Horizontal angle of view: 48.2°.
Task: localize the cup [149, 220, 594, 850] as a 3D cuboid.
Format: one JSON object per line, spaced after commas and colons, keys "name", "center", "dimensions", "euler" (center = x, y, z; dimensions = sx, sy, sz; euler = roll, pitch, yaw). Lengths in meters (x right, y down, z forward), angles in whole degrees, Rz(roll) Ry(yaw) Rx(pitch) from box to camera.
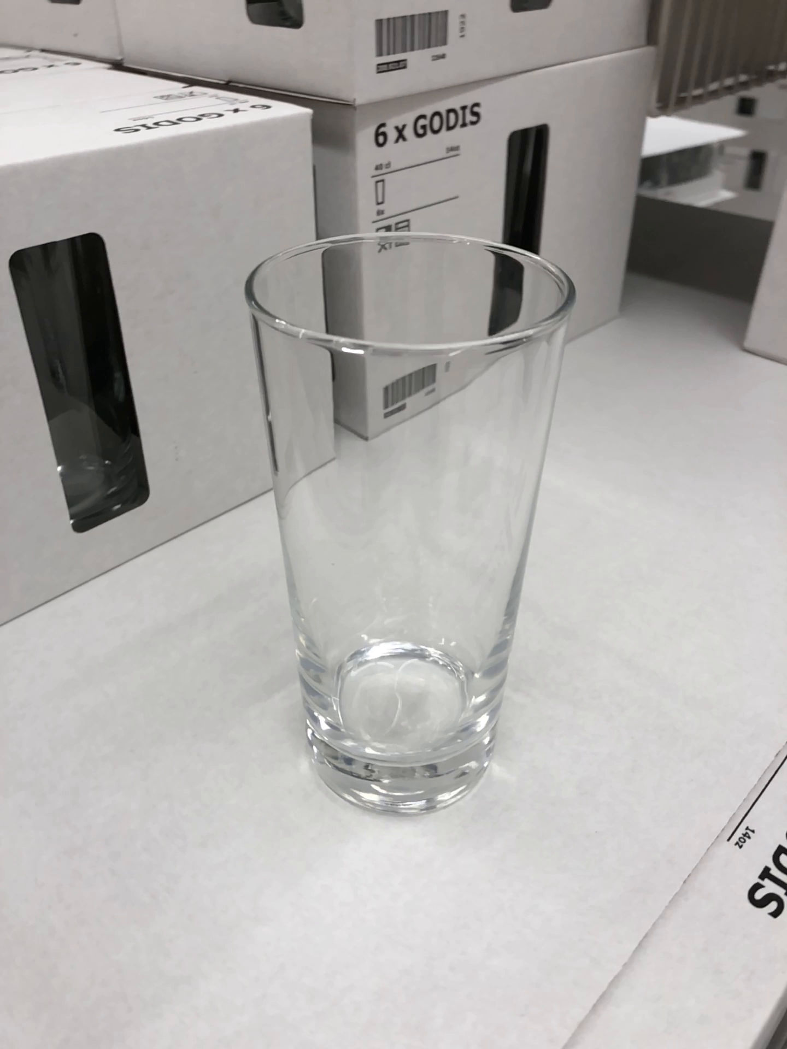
{"name": "cup", "center": [0.000, 0.002, 0.242], "dimensions": [0.080, 0.139, 0.080], "euler": [0, 34, 0]}
